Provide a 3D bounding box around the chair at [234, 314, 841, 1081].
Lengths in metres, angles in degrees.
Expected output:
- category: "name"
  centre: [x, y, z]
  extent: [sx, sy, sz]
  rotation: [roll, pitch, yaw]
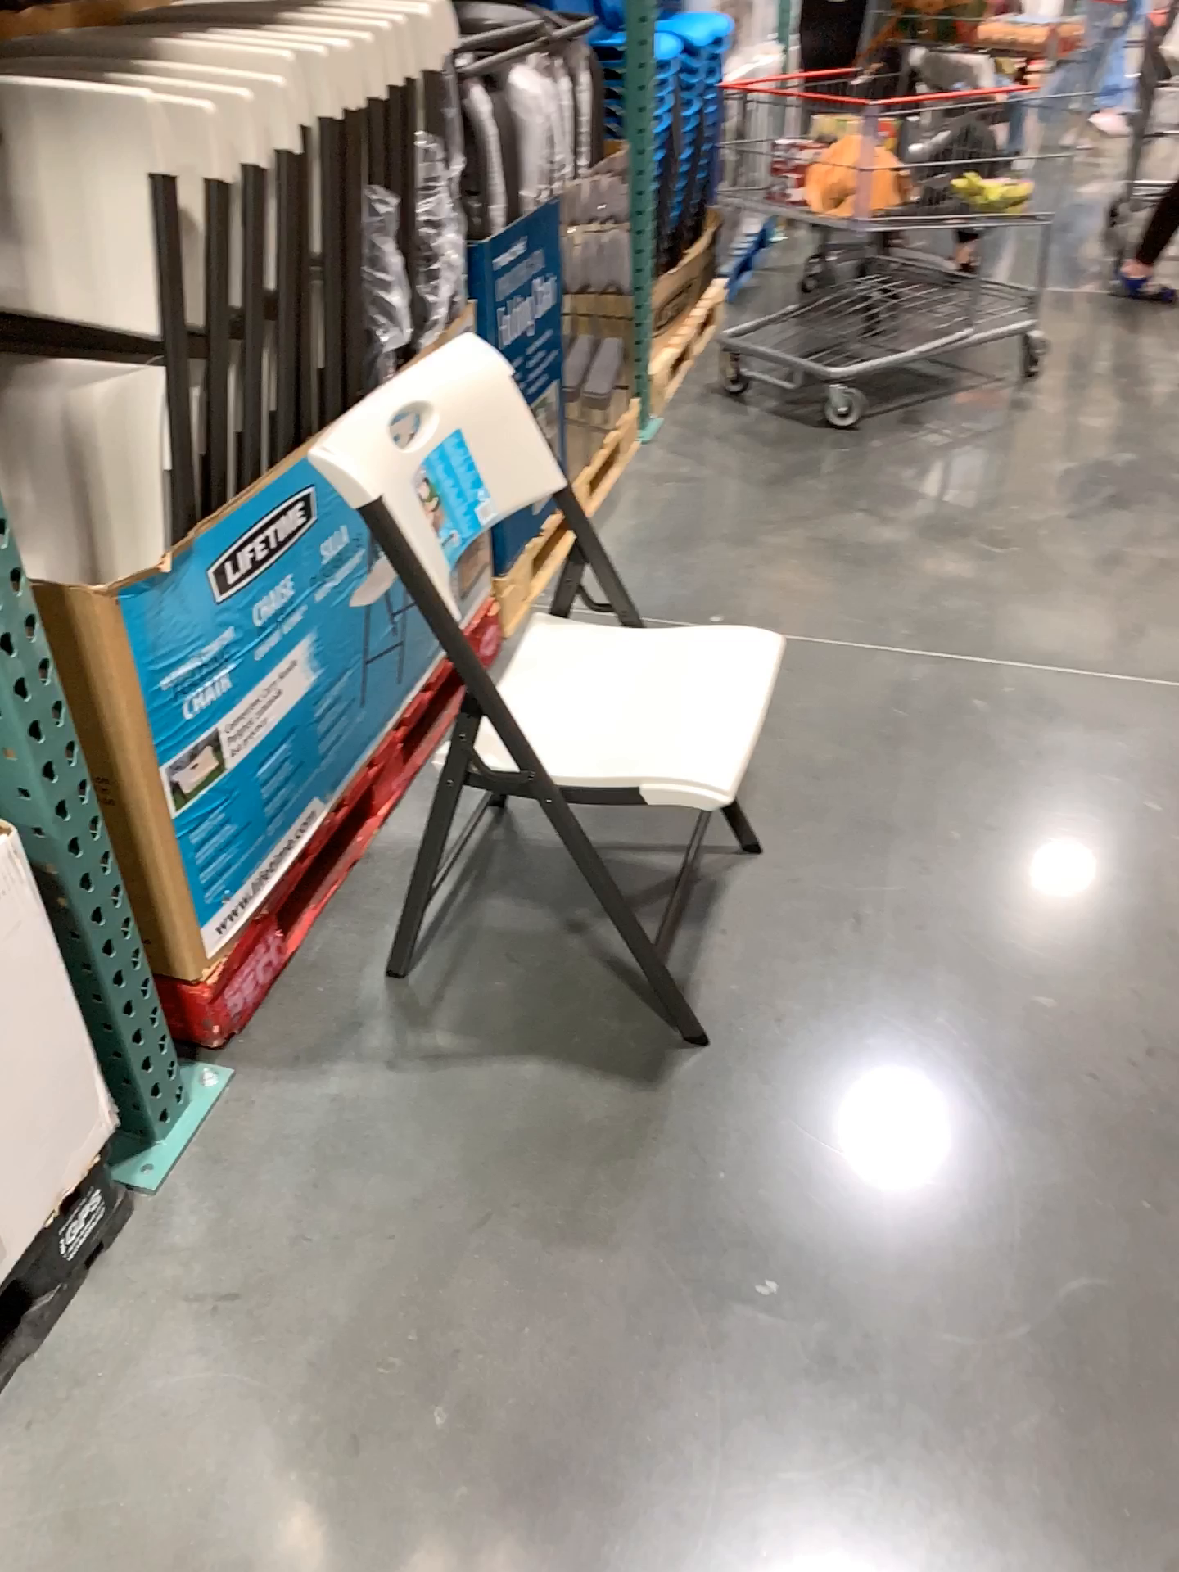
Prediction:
- category: "chair"
  centre: [-0.019, -0.137, 1.654]
  extent: [0.574, 0.805, 0.568]
  rotation: [9, 37, 12]
